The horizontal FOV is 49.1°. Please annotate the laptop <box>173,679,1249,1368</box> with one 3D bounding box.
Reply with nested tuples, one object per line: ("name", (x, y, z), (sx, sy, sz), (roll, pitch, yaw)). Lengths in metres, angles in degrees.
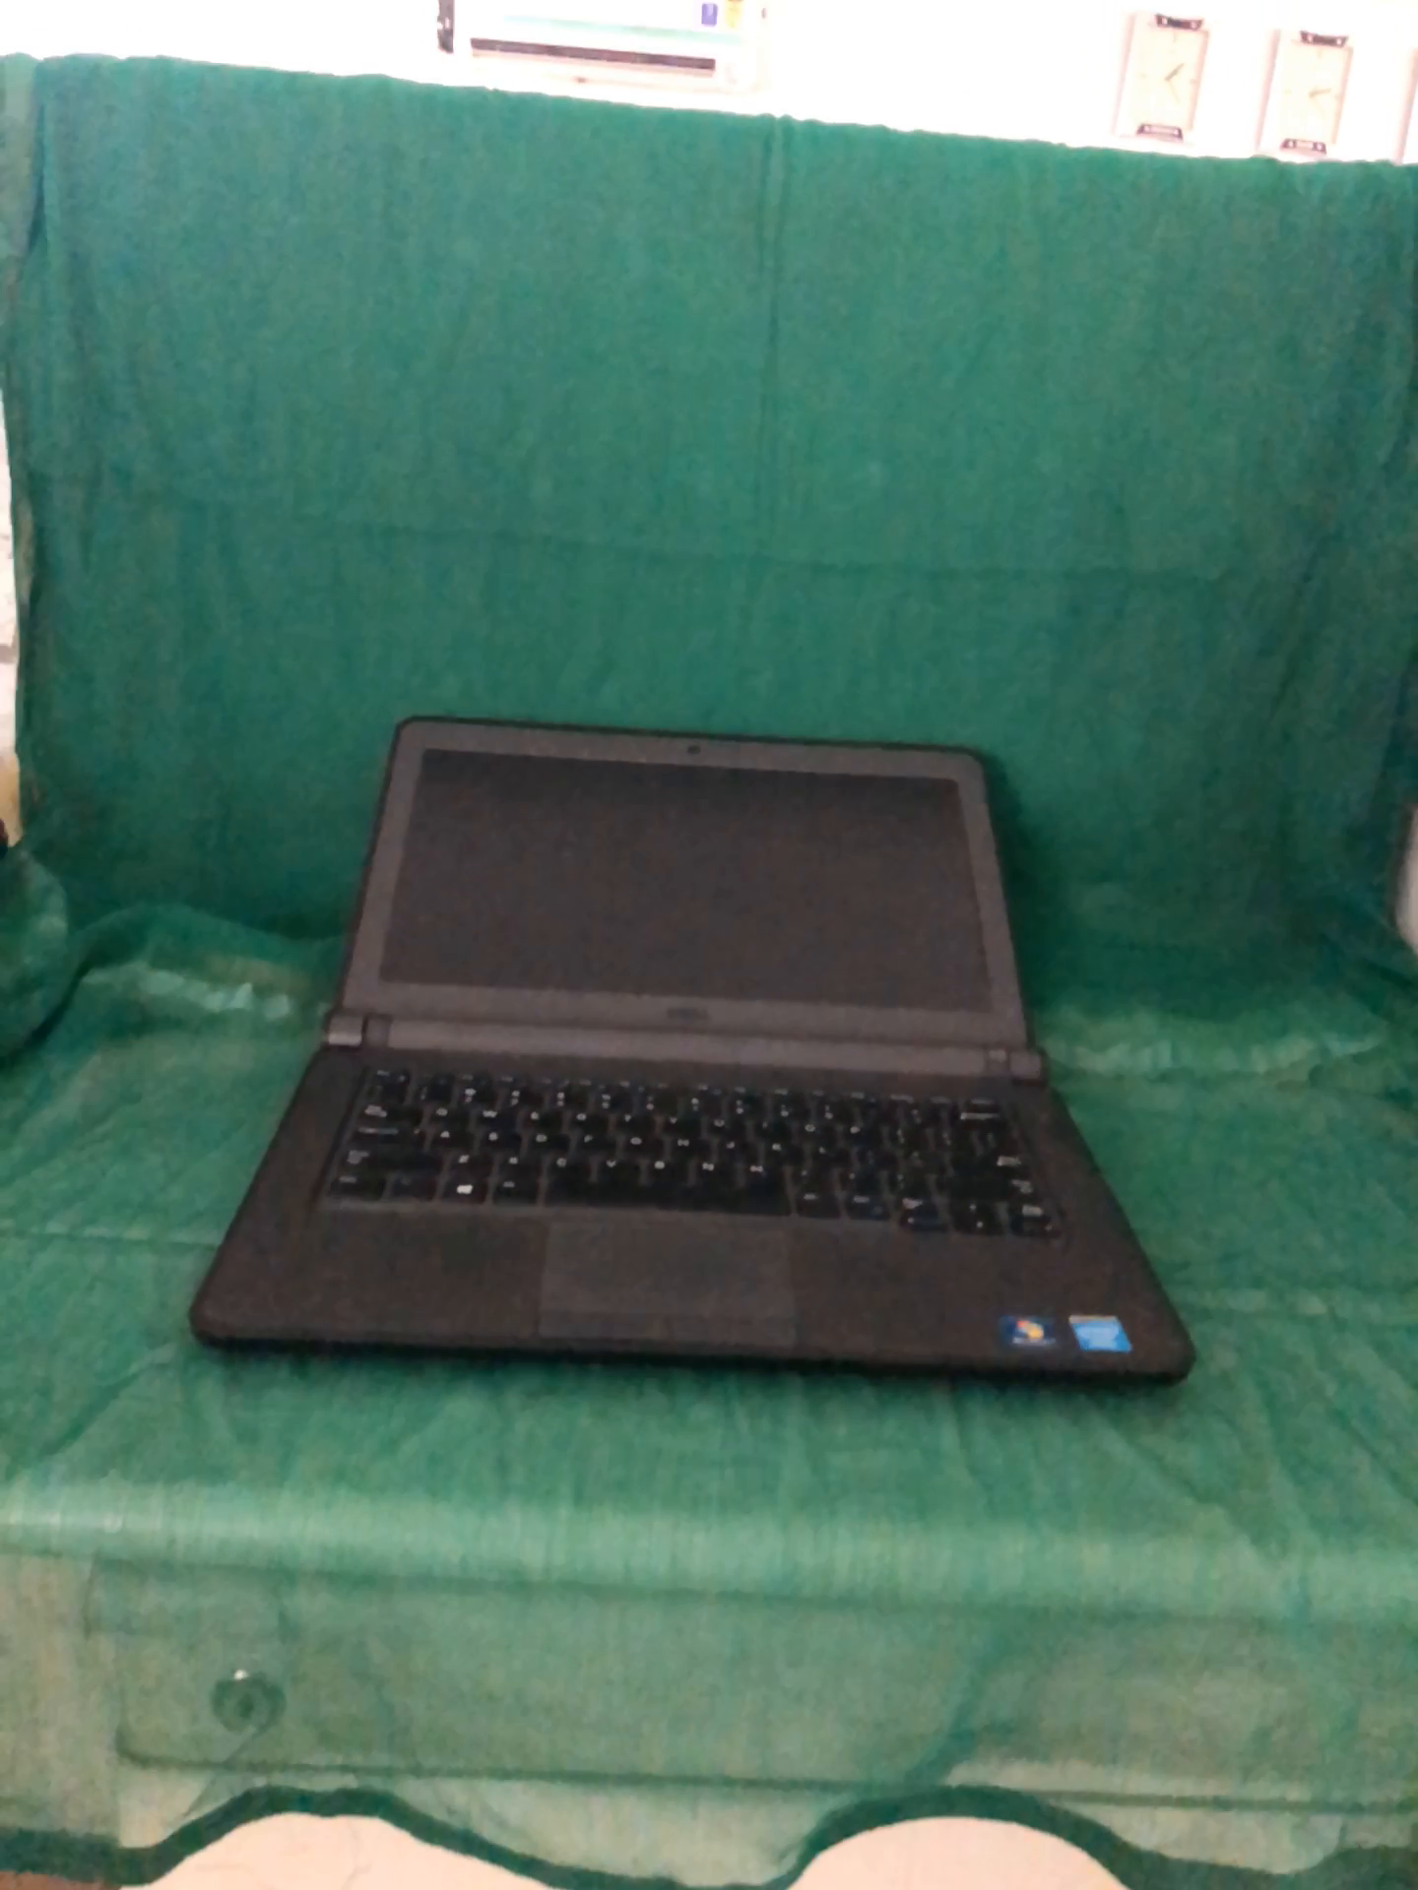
("laptop", (-0.005, -0.005, 0.655), (0.311, 0.096, 0.422), (3, 23, -3))
